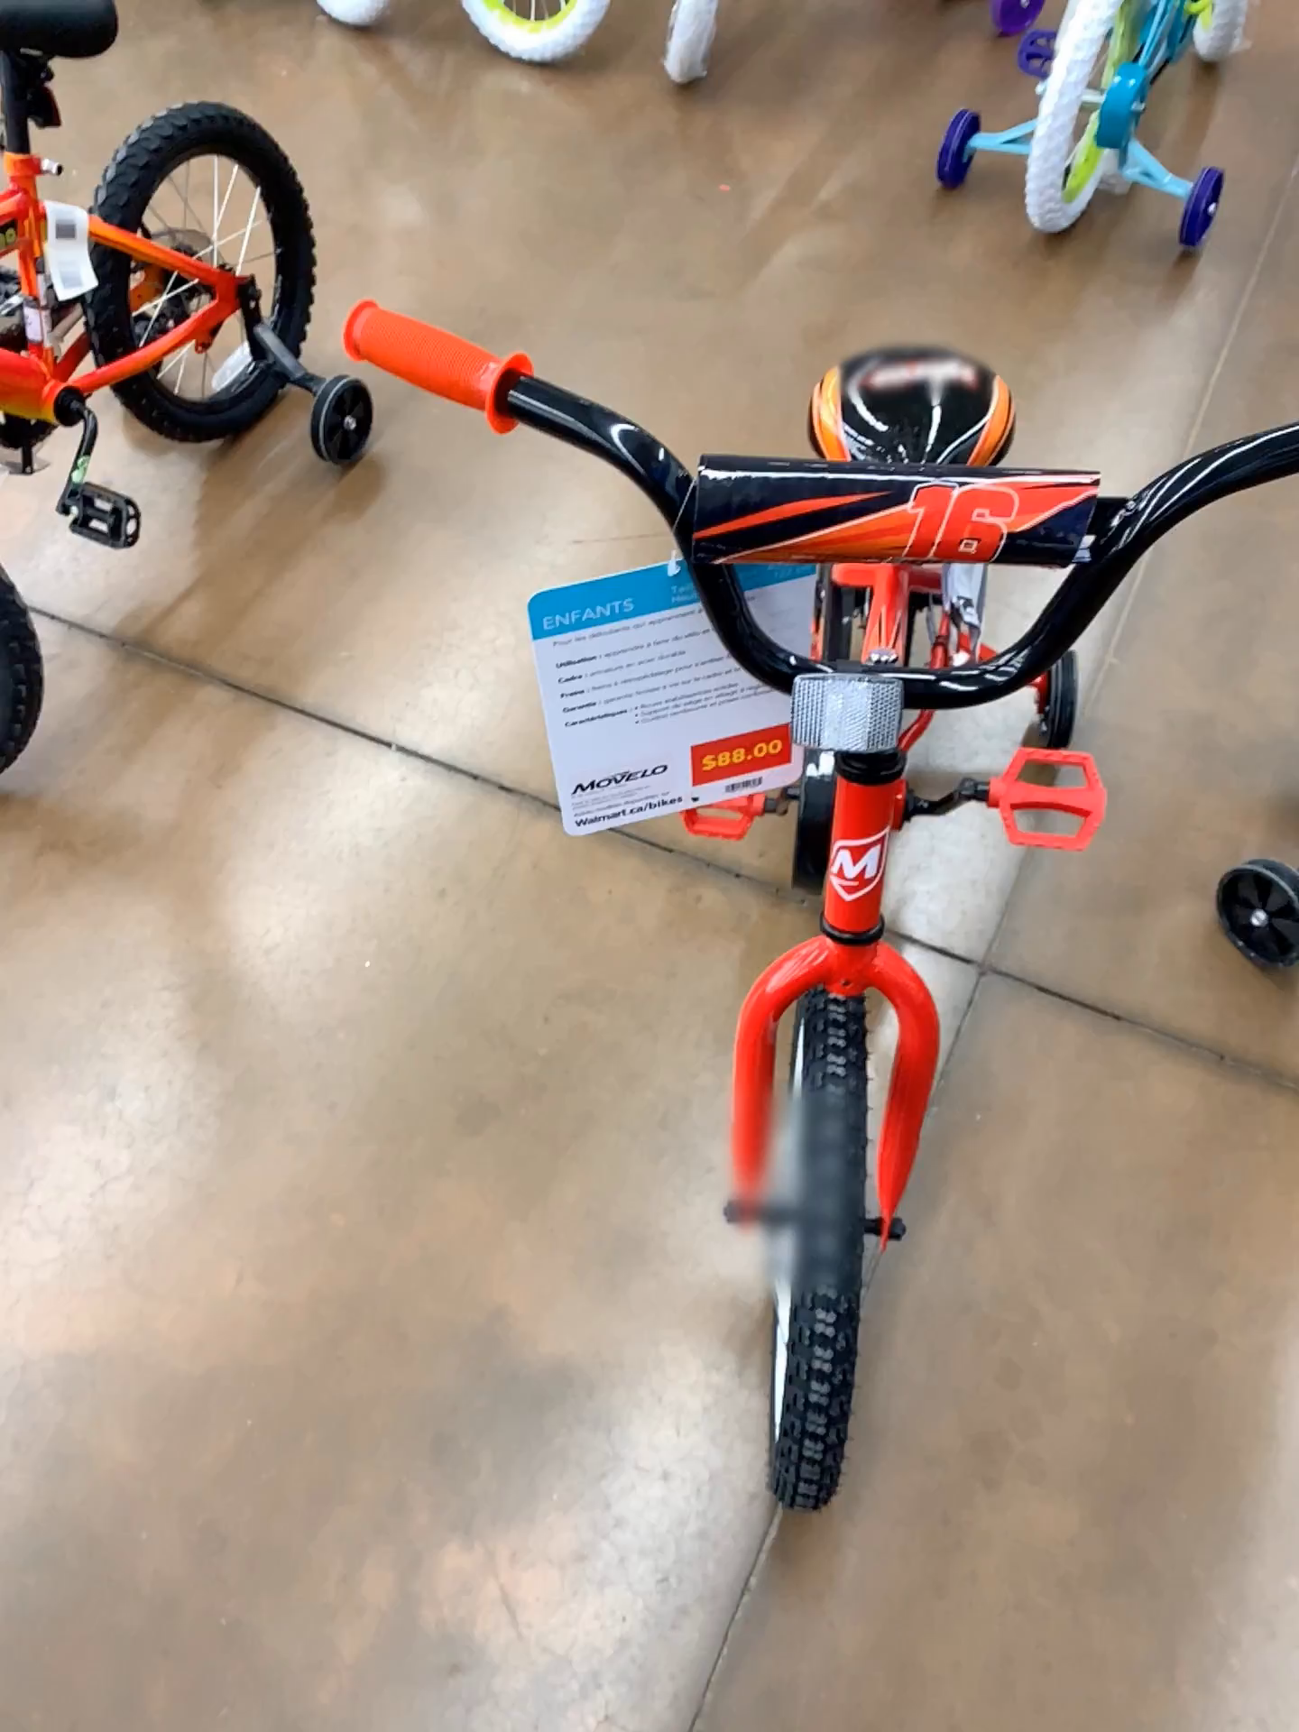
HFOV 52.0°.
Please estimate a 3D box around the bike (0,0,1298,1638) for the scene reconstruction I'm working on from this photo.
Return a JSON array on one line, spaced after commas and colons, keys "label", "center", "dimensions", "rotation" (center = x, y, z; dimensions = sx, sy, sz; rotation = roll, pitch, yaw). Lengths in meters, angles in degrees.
[{"label": "bike", "center": [0.189, -0.123, 1.029], "dimensions": [0.585, 0.849, 1.074], "rotation": [6, 53, 7]}]
